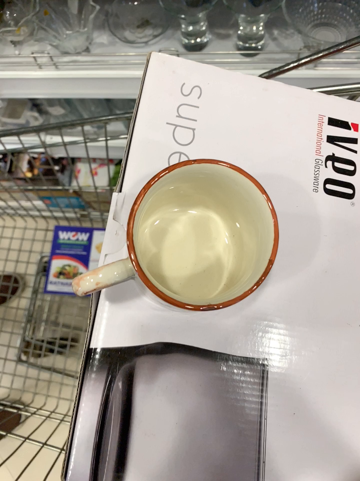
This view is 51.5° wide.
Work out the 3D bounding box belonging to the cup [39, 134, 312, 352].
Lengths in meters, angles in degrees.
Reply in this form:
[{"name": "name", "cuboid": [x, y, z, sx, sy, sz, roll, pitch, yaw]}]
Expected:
[{"name": "cup", "cuboid": [-0.006, 0.005, 0.192, 0.100, 0.070, 0.070, -16, 74, -11]}]
